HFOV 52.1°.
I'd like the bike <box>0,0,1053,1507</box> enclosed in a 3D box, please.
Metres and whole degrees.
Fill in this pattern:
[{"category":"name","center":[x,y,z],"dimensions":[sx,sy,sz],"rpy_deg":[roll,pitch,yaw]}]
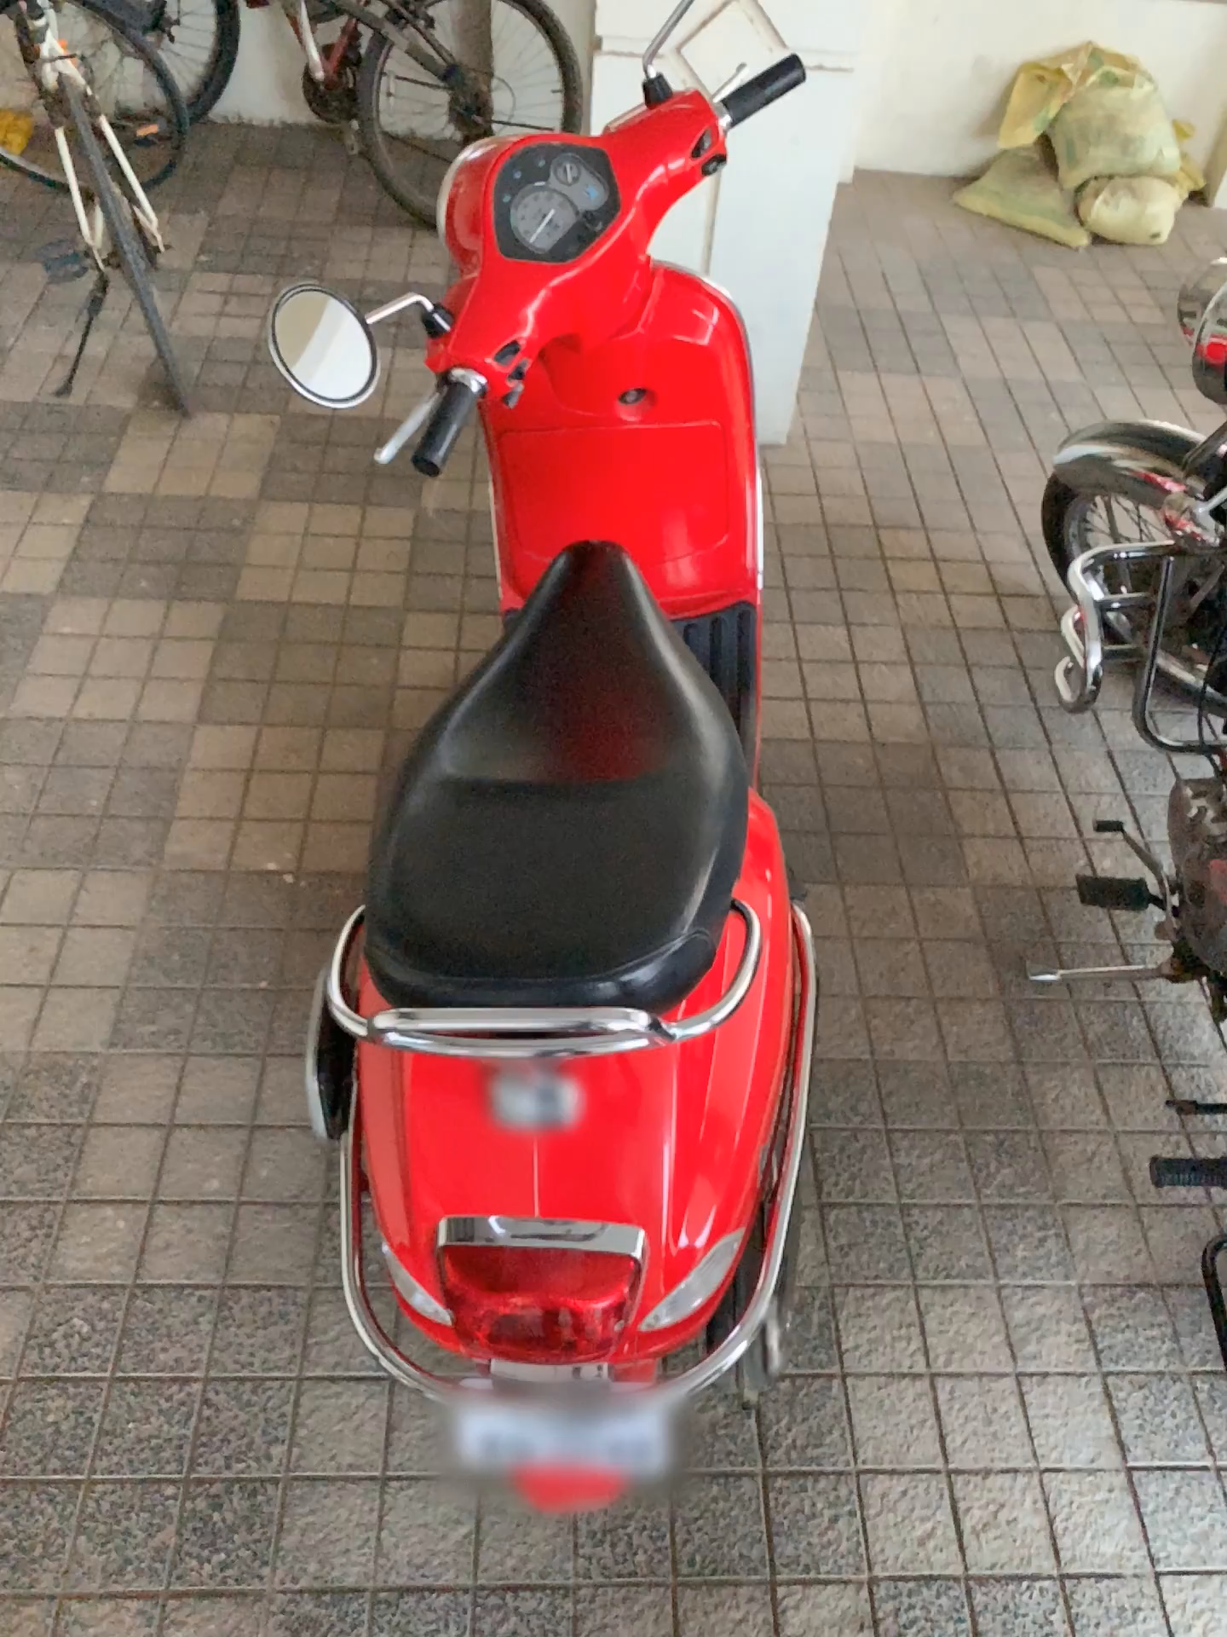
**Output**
[{"category":"bike","center":[-0.243,-0.163,1.604],"dimensions":[0.681,1.263,1.553],"rpy_deg":[-1,50,-6]}]
